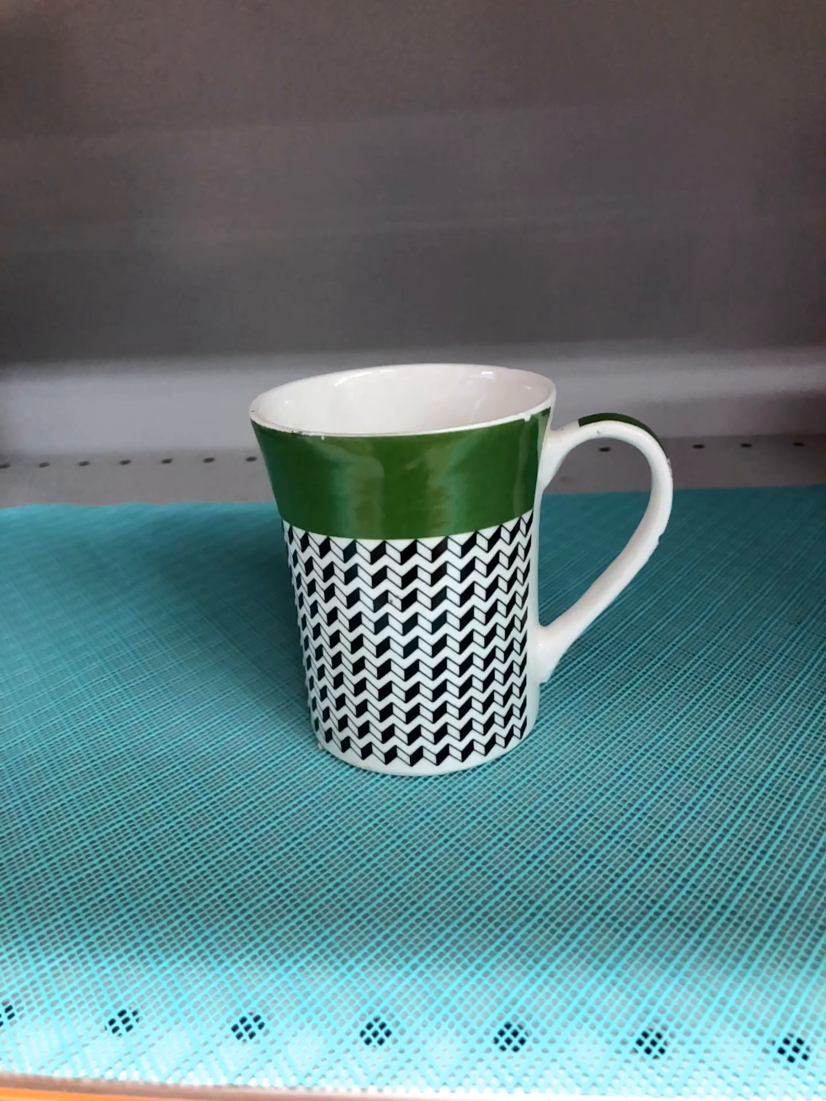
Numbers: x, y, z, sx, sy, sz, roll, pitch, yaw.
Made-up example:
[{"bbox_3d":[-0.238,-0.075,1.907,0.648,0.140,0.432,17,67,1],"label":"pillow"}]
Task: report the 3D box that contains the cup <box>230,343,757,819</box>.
[{"bbox_3d":[0.019,0.003,0.247,0.110,0.099,0.080,-2,21,1],"label":"cup"}]
